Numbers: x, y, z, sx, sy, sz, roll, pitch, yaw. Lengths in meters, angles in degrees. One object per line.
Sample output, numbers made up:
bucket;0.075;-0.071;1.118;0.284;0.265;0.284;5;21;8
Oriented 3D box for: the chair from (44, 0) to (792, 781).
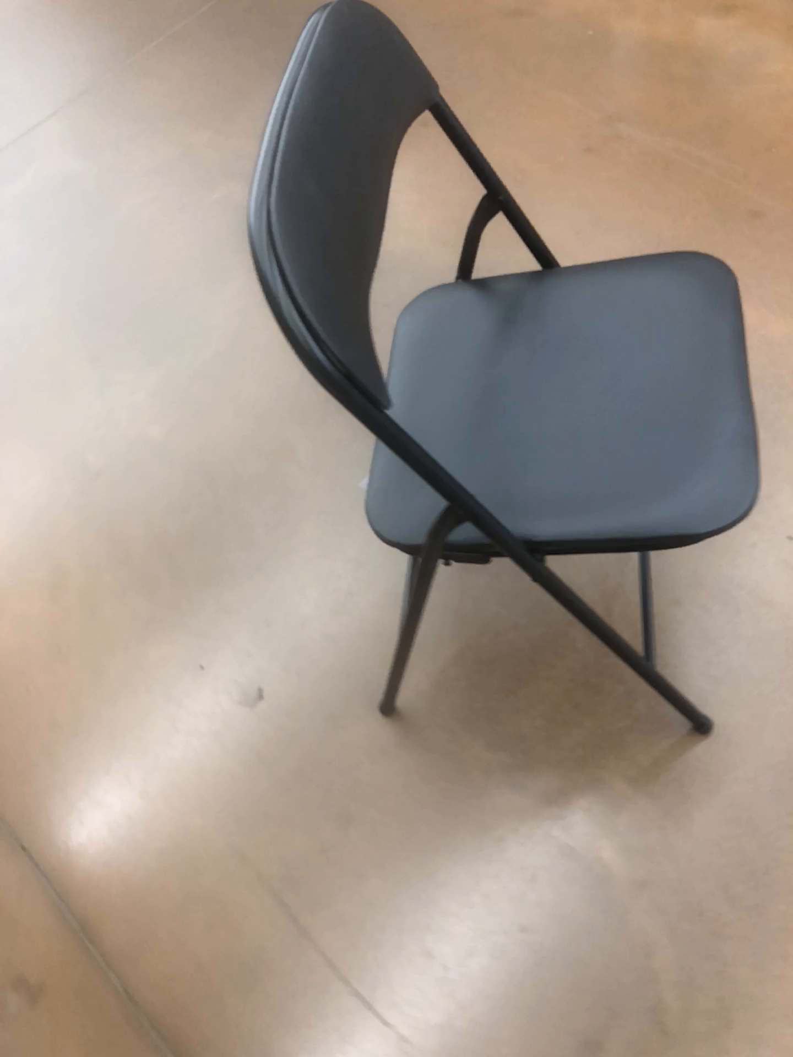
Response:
chair;0.132;-0.124;0.931;0.490;0.758;0.521;0;57;14
